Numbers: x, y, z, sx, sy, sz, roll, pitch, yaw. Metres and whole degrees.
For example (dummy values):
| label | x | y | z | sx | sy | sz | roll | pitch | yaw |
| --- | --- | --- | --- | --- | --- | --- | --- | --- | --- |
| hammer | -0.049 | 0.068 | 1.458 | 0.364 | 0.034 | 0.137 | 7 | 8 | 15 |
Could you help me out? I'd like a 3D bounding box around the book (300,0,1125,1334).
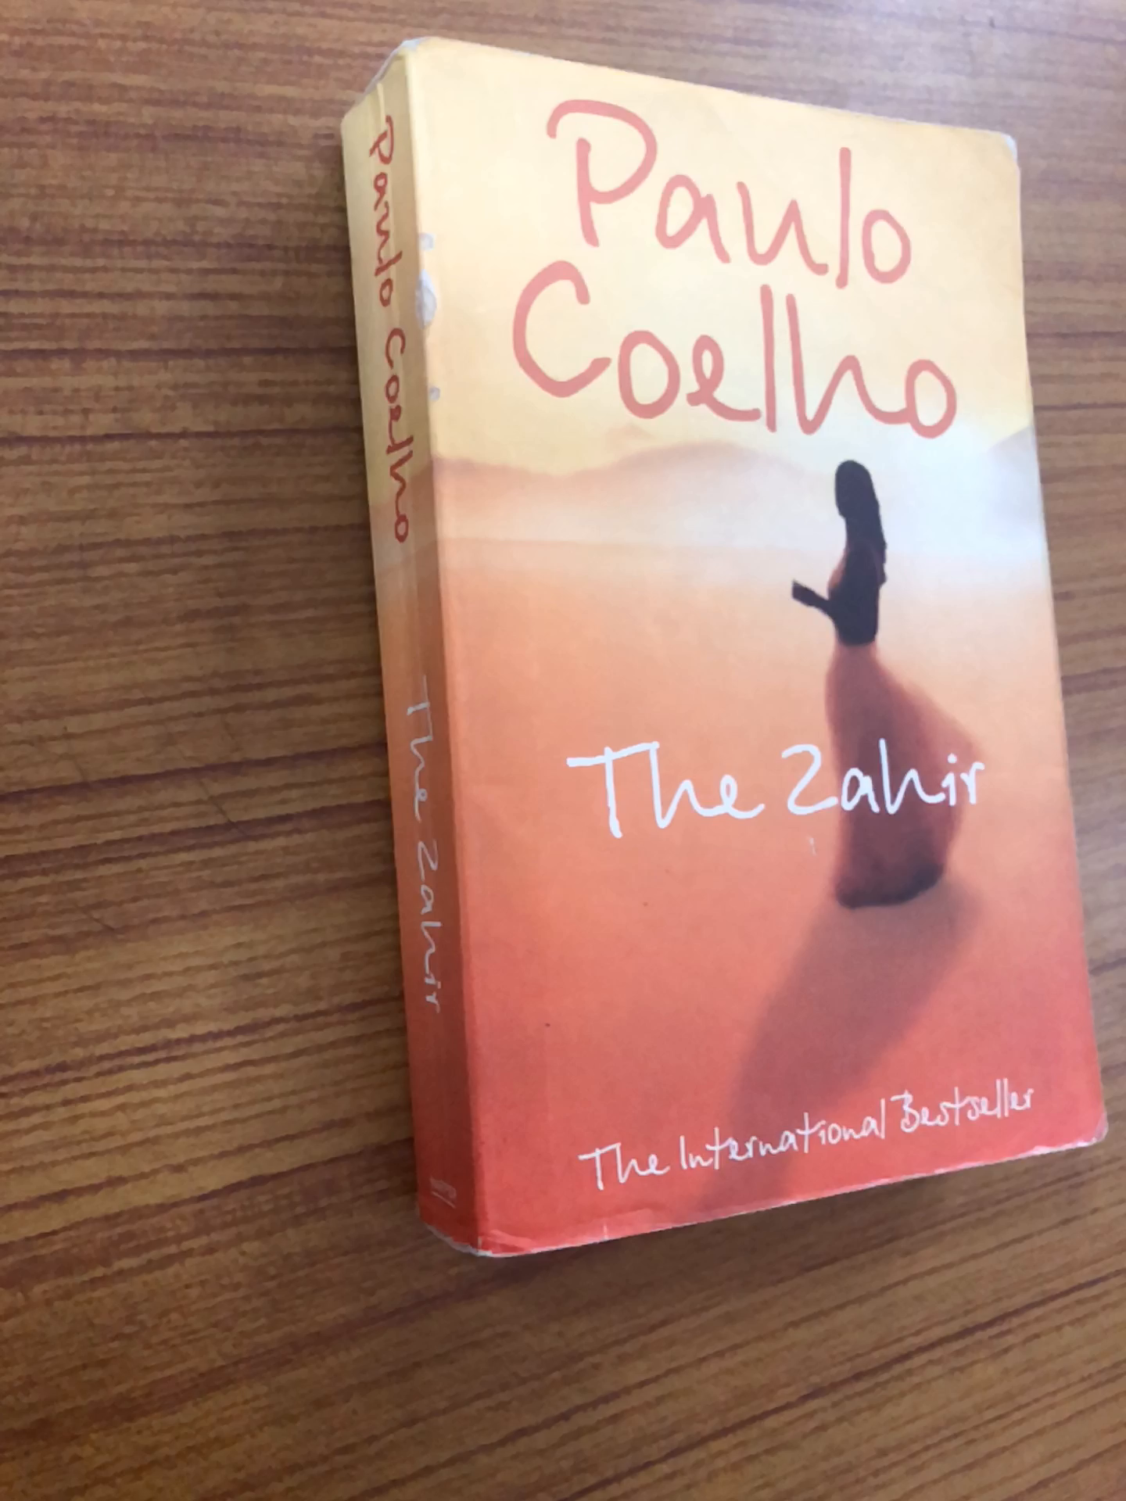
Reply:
| label | x | y | z | sx | sy | sz | roll | pitch | yaw |
| --- | --- | --- | --- | --- | --- | --- | --- | --- | --- |
| book | 0.027 | -0.016 | 0.210 | 0.120 | 0.040 | 0.180 | -3 | 85 | -23 |
